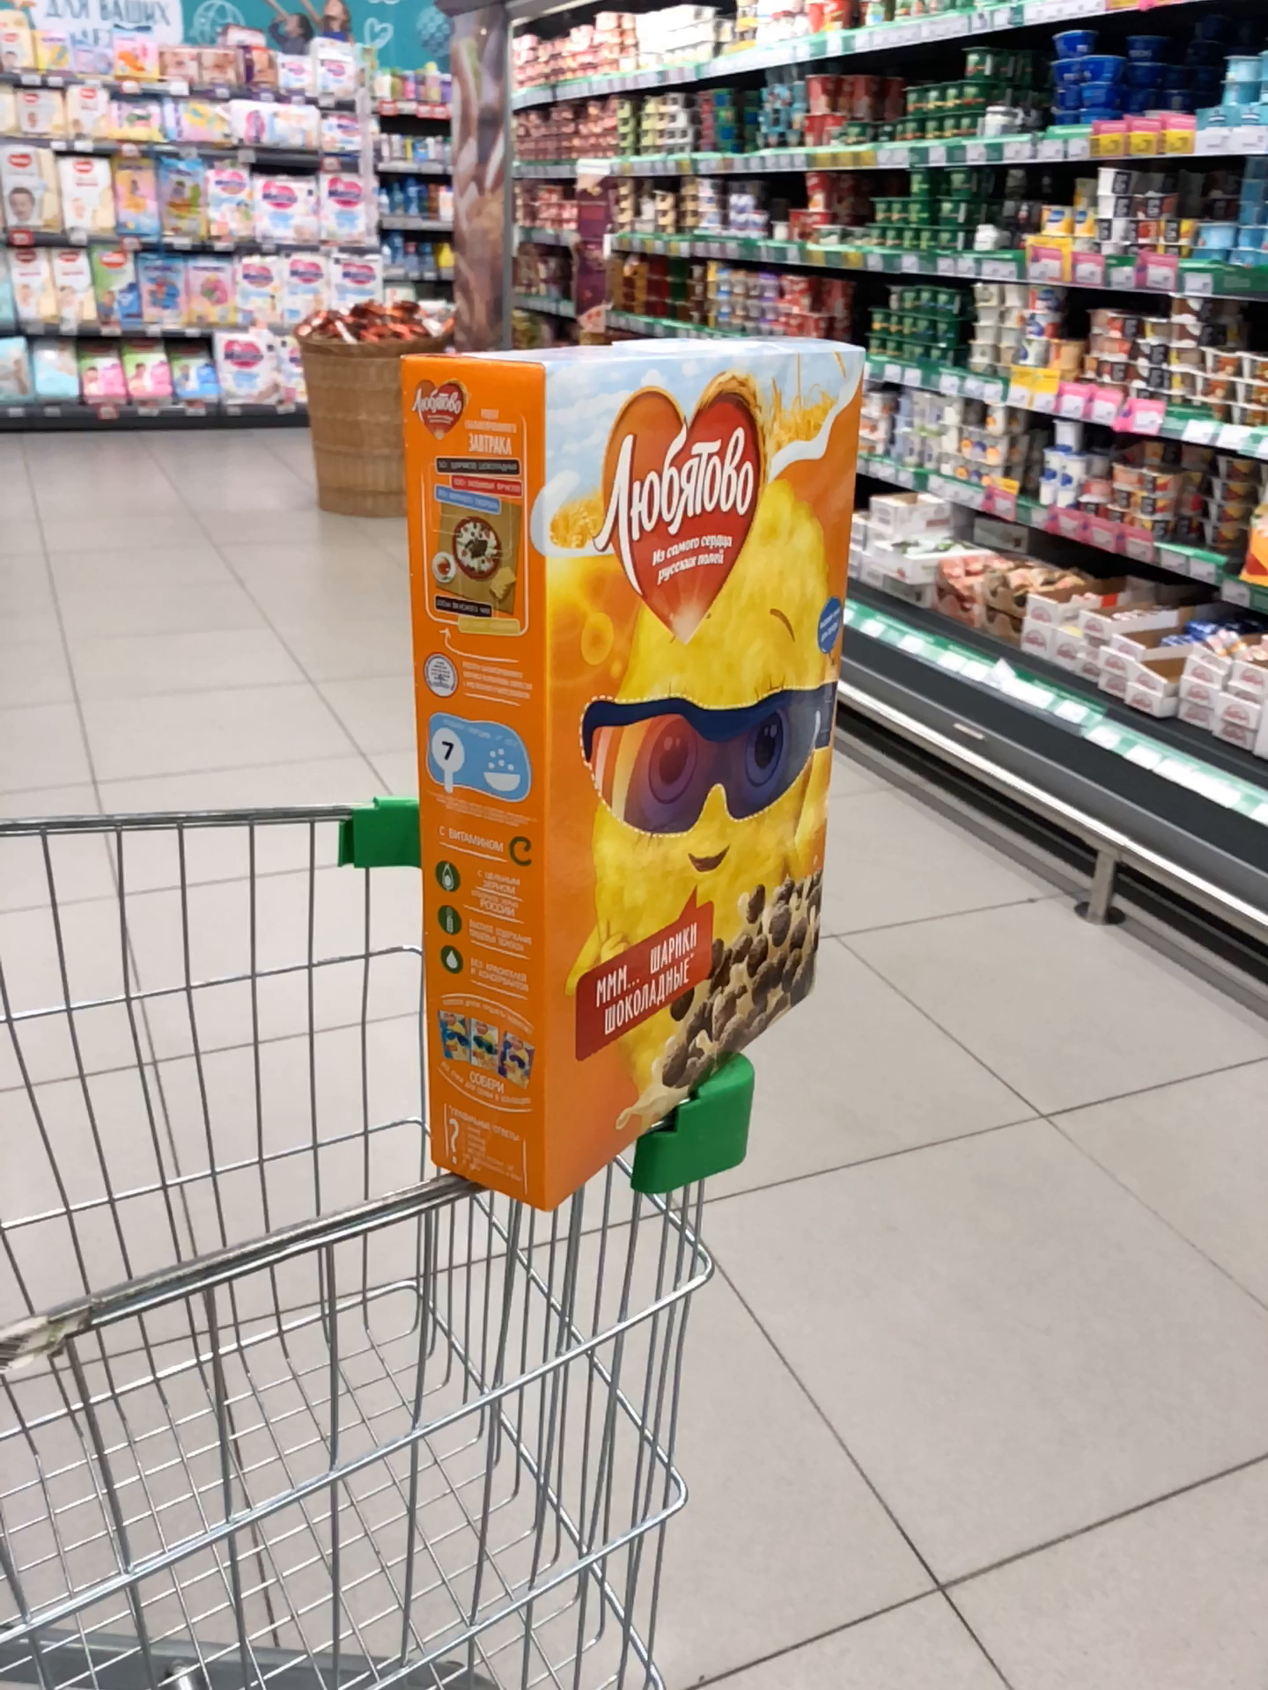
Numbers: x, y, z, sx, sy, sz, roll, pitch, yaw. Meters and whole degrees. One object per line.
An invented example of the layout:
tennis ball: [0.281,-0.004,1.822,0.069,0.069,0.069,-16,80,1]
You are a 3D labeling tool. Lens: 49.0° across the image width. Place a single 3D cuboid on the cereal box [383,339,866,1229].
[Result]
cereal box: [0.005,-0.036,0.480,0.050,0.259,0.201,14,24,30]
